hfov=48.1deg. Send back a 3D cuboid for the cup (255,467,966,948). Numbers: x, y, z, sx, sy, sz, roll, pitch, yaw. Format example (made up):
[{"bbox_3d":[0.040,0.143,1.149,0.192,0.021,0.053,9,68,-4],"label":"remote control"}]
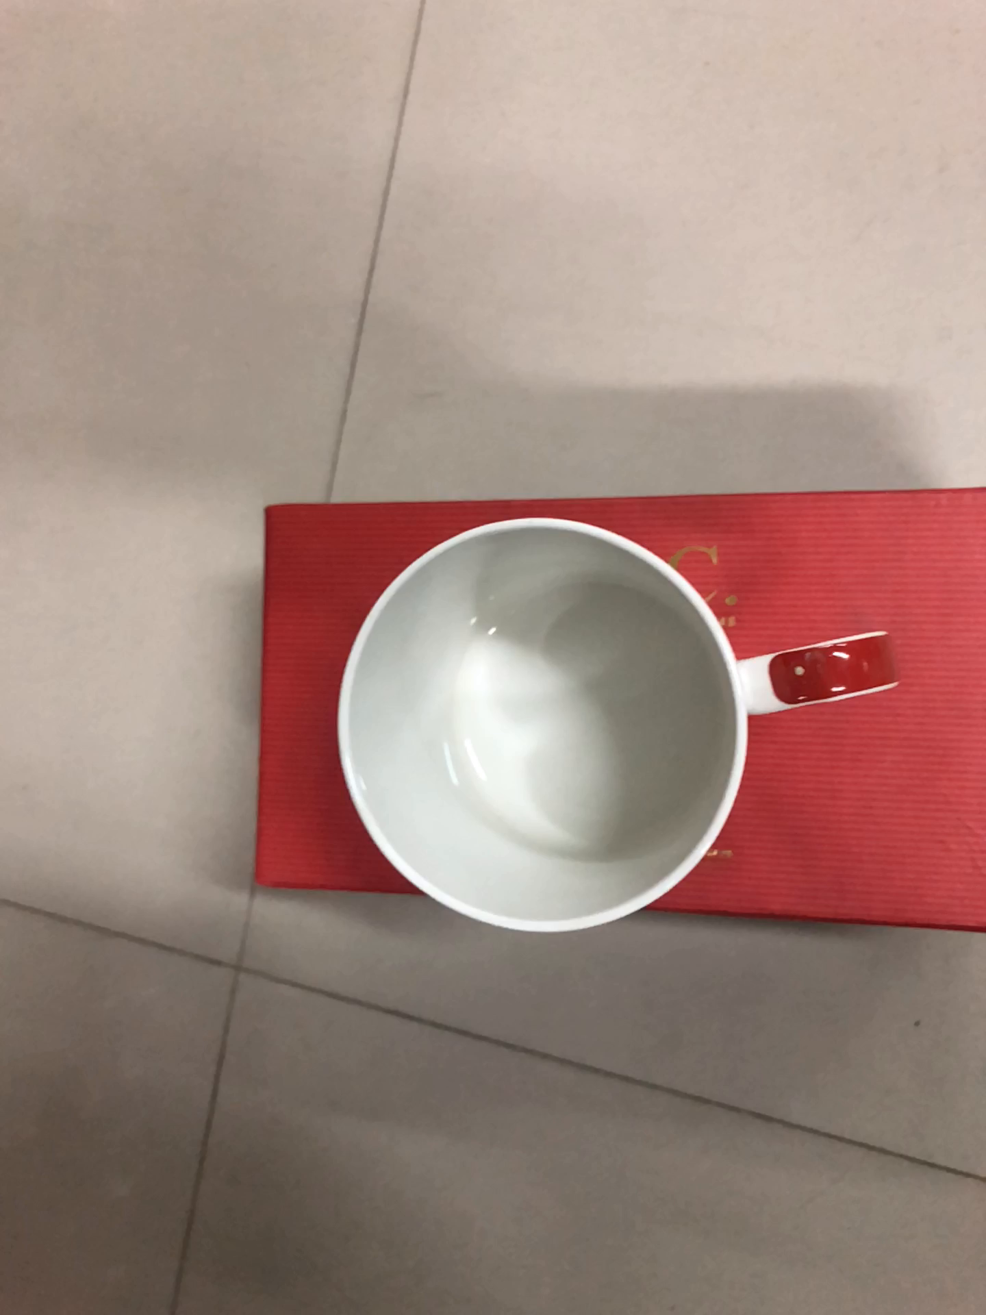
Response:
[{"bbox_3d":[0.029,0.014,0.263,0.130,0.100,0.080,-7,87,13],"label":"cup"}]
